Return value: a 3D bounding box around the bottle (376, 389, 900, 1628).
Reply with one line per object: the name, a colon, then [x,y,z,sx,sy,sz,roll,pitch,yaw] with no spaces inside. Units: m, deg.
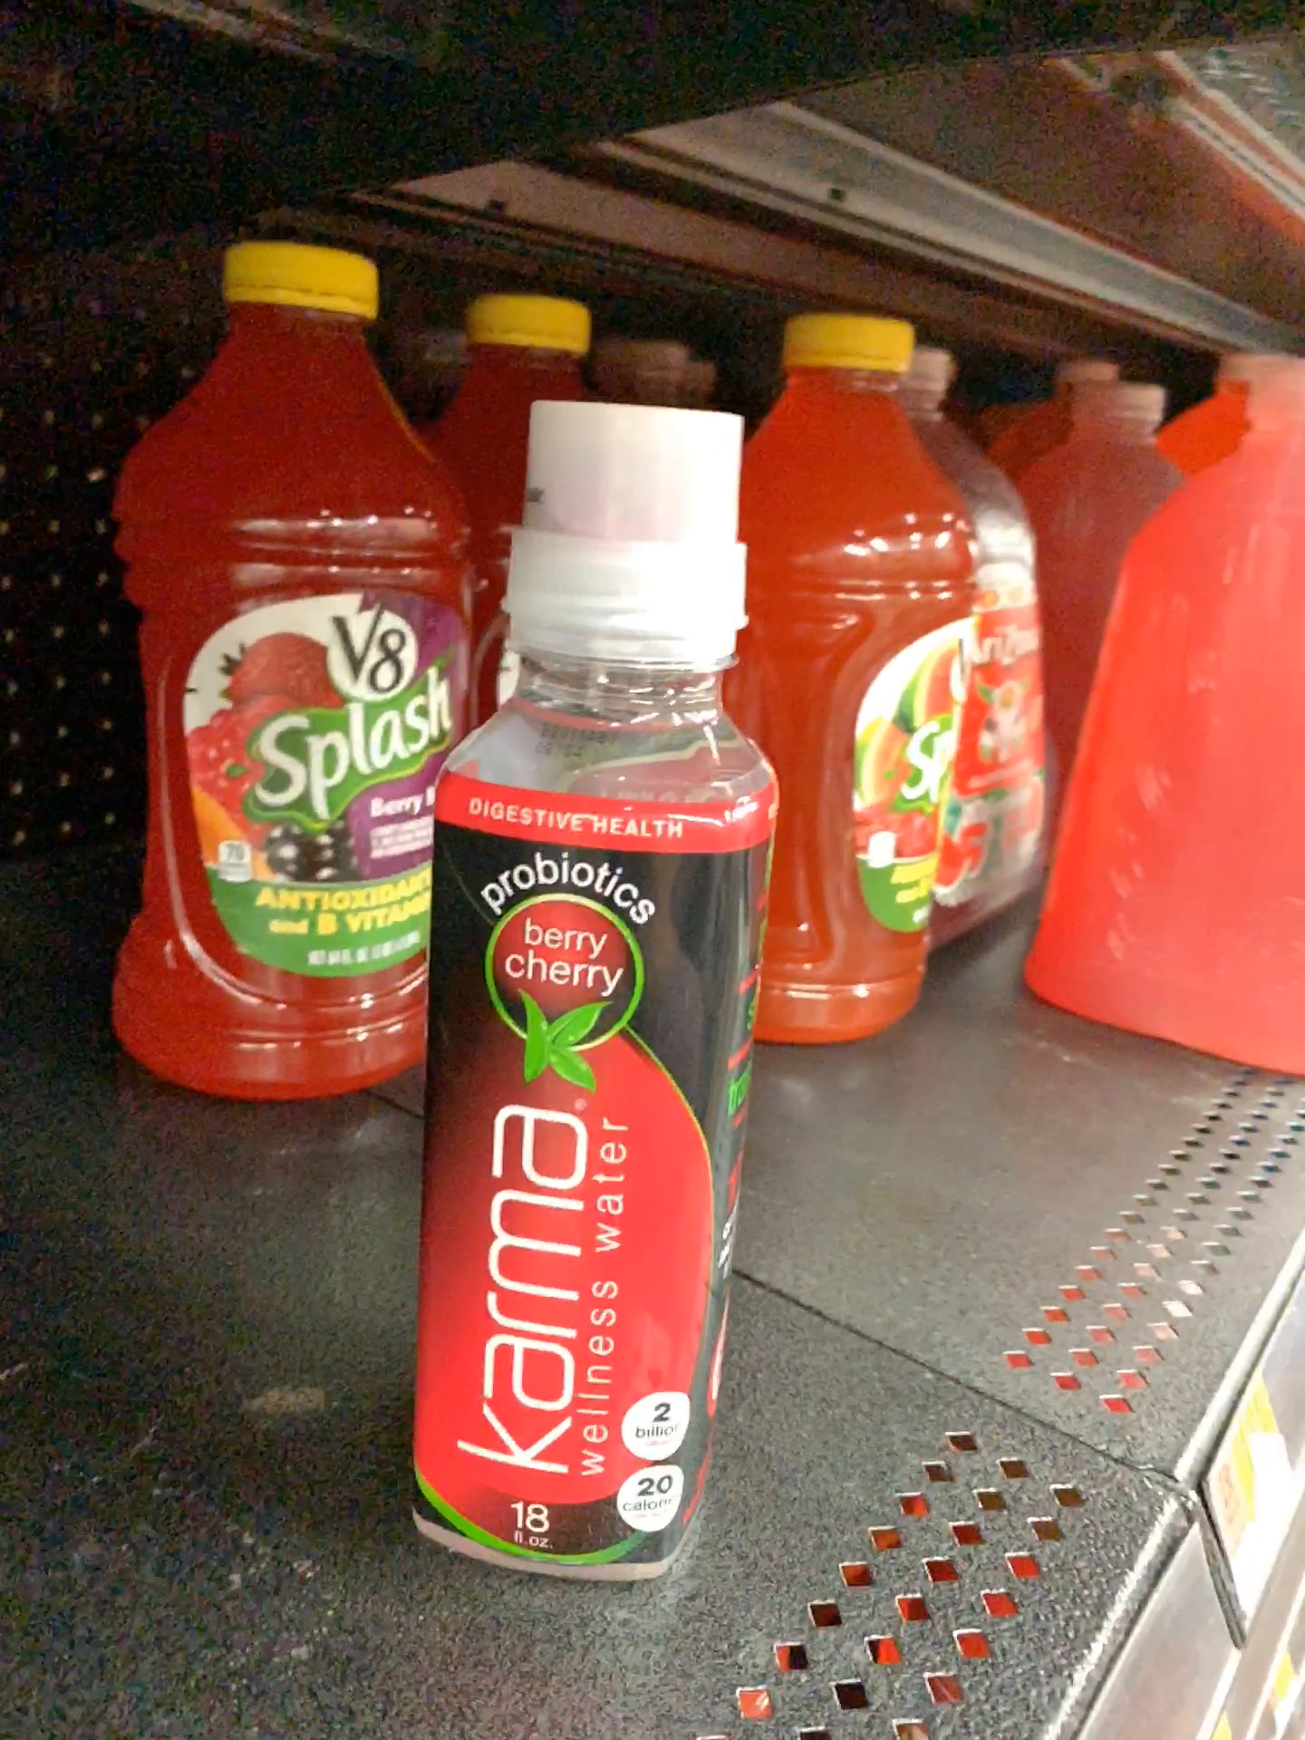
bottle: [-0.004,0.025,0.254,0.068,0.209,0.070,5,18,-2]
